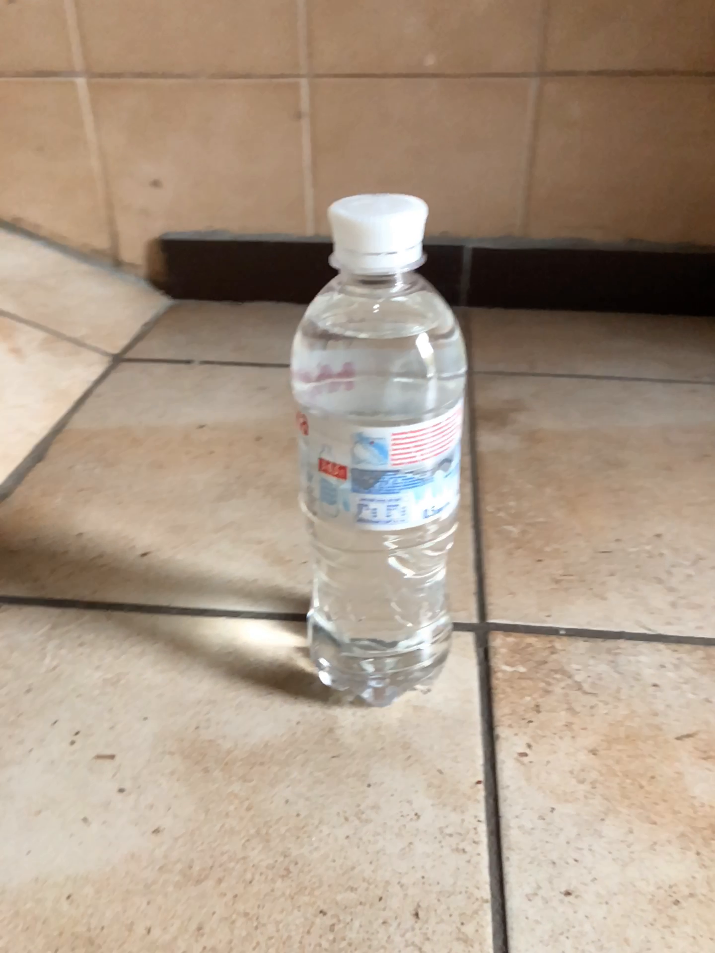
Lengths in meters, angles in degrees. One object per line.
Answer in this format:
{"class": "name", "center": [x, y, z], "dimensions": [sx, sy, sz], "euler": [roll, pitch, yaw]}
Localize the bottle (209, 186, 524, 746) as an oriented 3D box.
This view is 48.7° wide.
{"class": "bottle", "center": [0.007, -0.002, 0.318], "dimensions": [0.080, 0.199, 0.080], "euler": [0, 32, 0]}
